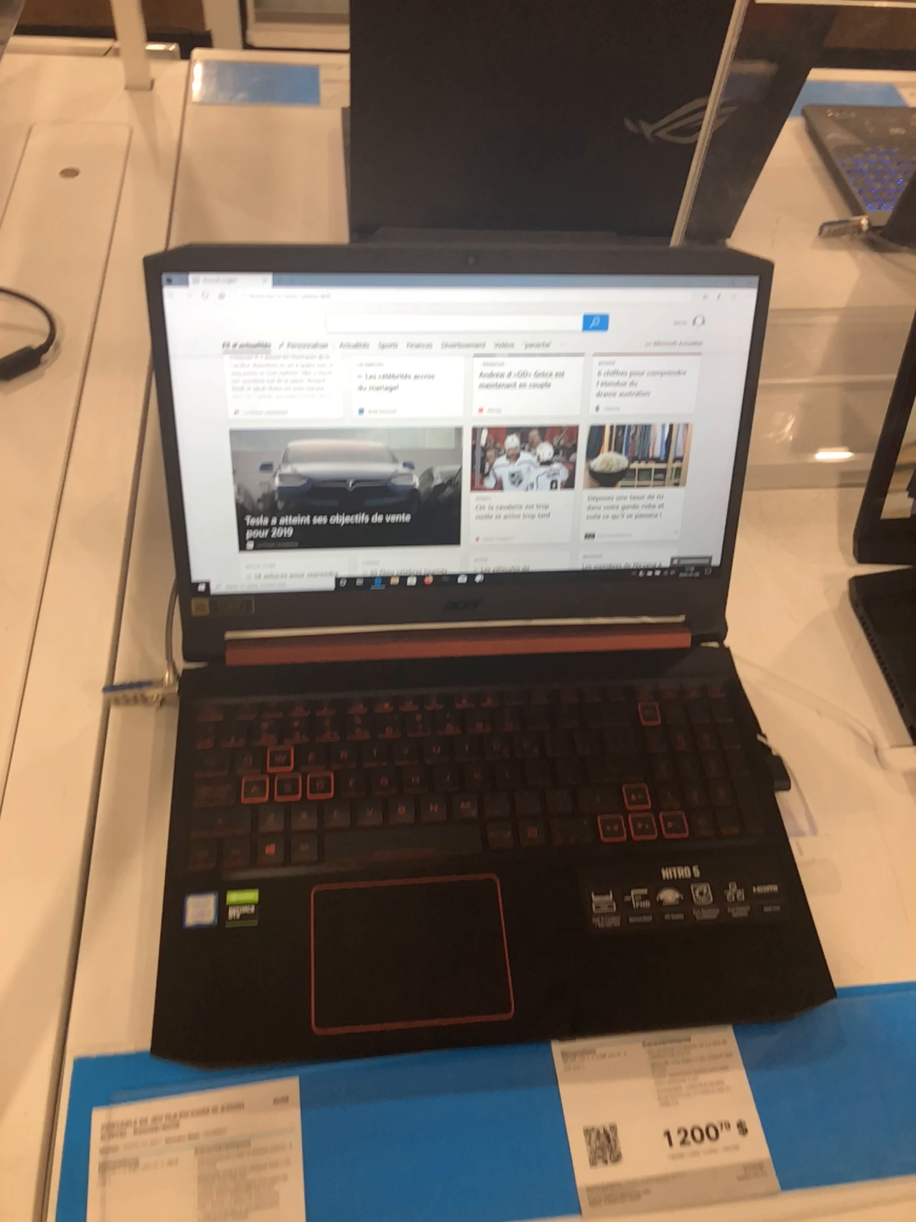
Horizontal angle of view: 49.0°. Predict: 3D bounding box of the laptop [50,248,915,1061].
[{"bbox_3d":[0.018,0.007,0.539,0.357,0.211,0.359,-2,54,-7],"label":"laptop"}]
